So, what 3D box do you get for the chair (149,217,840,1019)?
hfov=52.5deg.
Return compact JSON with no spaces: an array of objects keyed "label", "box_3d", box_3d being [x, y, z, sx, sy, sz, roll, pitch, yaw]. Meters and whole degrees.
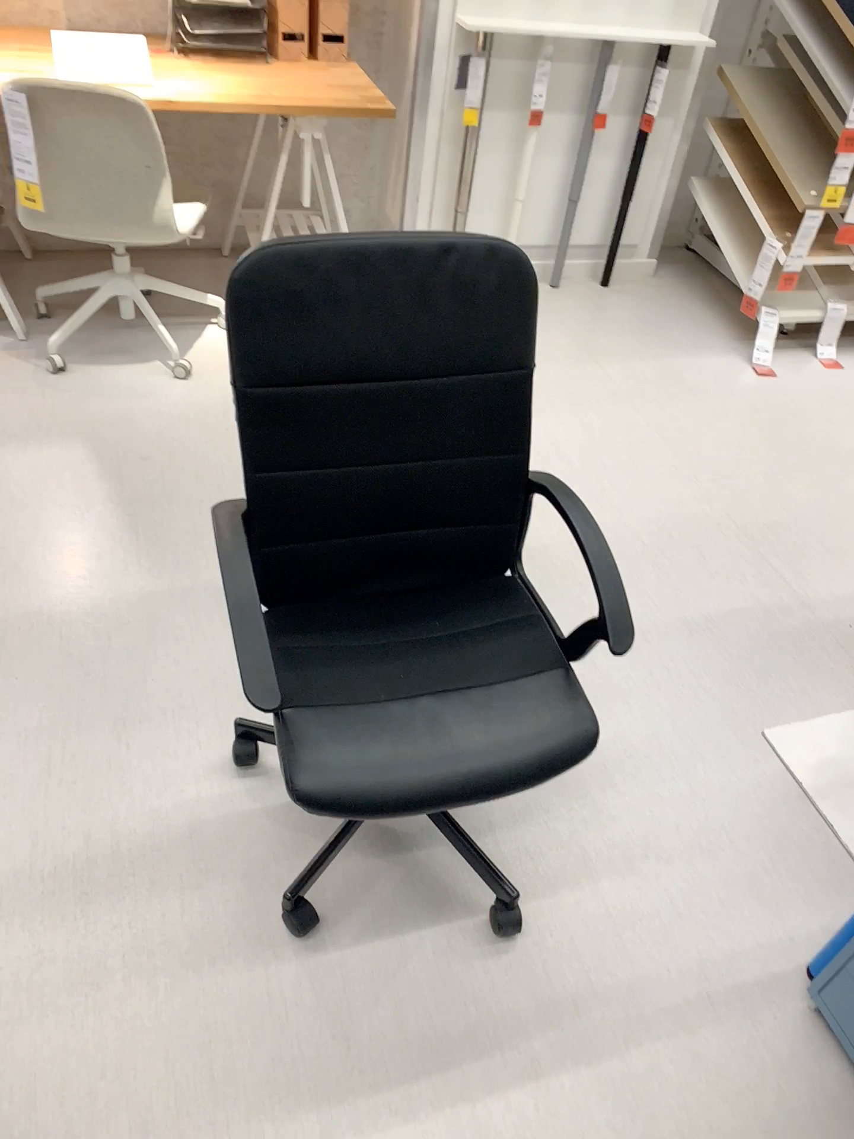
[{"label":"chair","box_3d":[-0.021,0.086,1.304,0.610,0.996,0.582,-8,44,-19]}]
